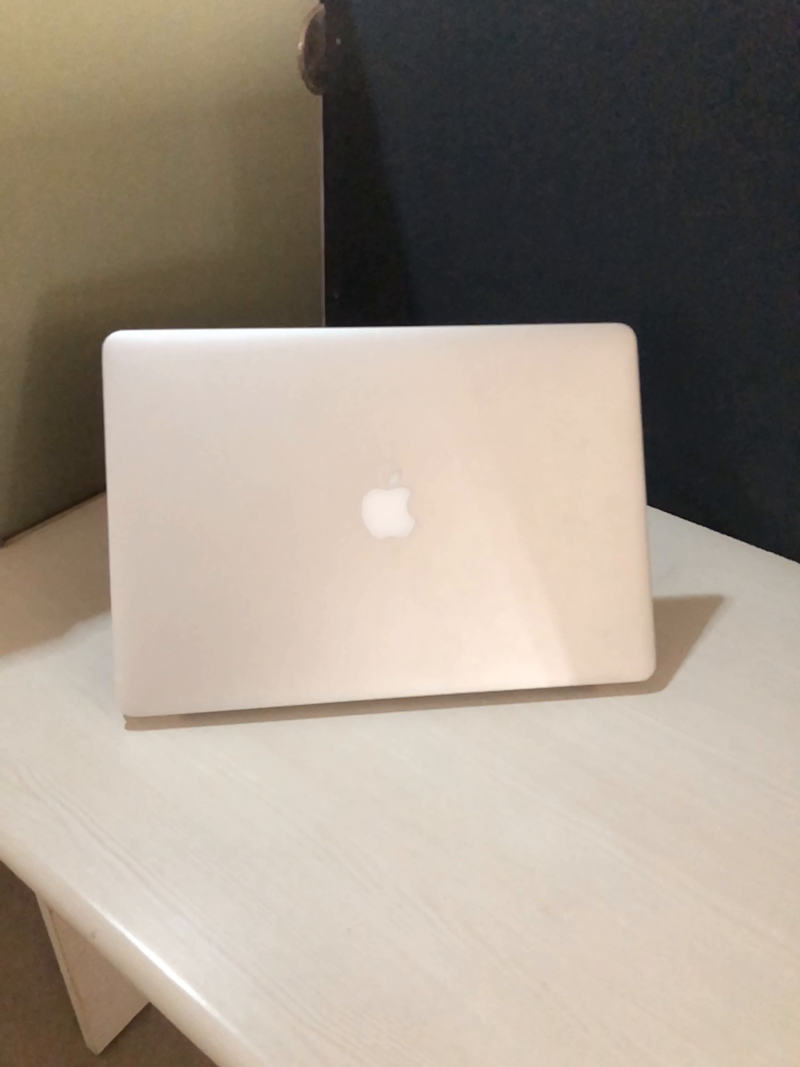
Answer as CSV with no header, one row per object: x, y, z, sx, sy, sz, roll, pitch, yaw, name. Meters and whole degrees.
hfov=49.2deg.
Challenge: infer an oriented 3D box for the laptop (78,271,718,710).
-0.012,-0.044,0.614,0.343,0.197,0.236,-2,35,-8,laptop
